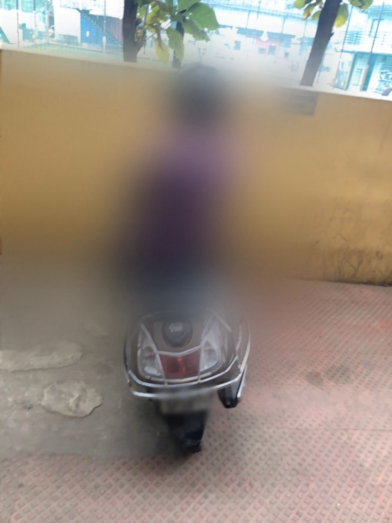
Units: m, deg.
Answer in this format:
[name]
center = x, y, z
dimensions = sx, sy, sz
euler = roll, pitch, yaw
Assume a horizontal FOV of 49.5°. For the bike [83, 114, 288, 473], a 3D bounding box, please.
[bike]
center = -0.247, -0.008, 2.357
dimensions = 0.643, 1.181, 1.724
euler = 2, 28, -12
